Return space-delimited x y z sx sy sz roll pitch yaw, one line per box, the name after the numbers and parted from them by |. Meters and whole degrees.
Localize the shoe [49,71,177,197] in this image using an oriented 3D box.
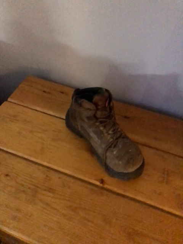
0.036 0.017 0.519 0.130 0.130 0.290 -34 60 -28 | shoe
